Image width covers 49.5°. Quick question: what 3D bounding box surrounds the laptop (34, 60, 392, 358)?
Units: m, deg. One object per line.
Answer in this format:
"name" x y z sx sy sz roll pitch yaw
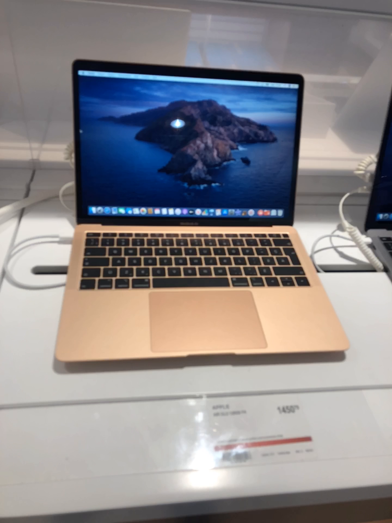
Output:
"laptop" 0.006 -0.075 0.483 0.291 0.170 0.305 0 44 -9
